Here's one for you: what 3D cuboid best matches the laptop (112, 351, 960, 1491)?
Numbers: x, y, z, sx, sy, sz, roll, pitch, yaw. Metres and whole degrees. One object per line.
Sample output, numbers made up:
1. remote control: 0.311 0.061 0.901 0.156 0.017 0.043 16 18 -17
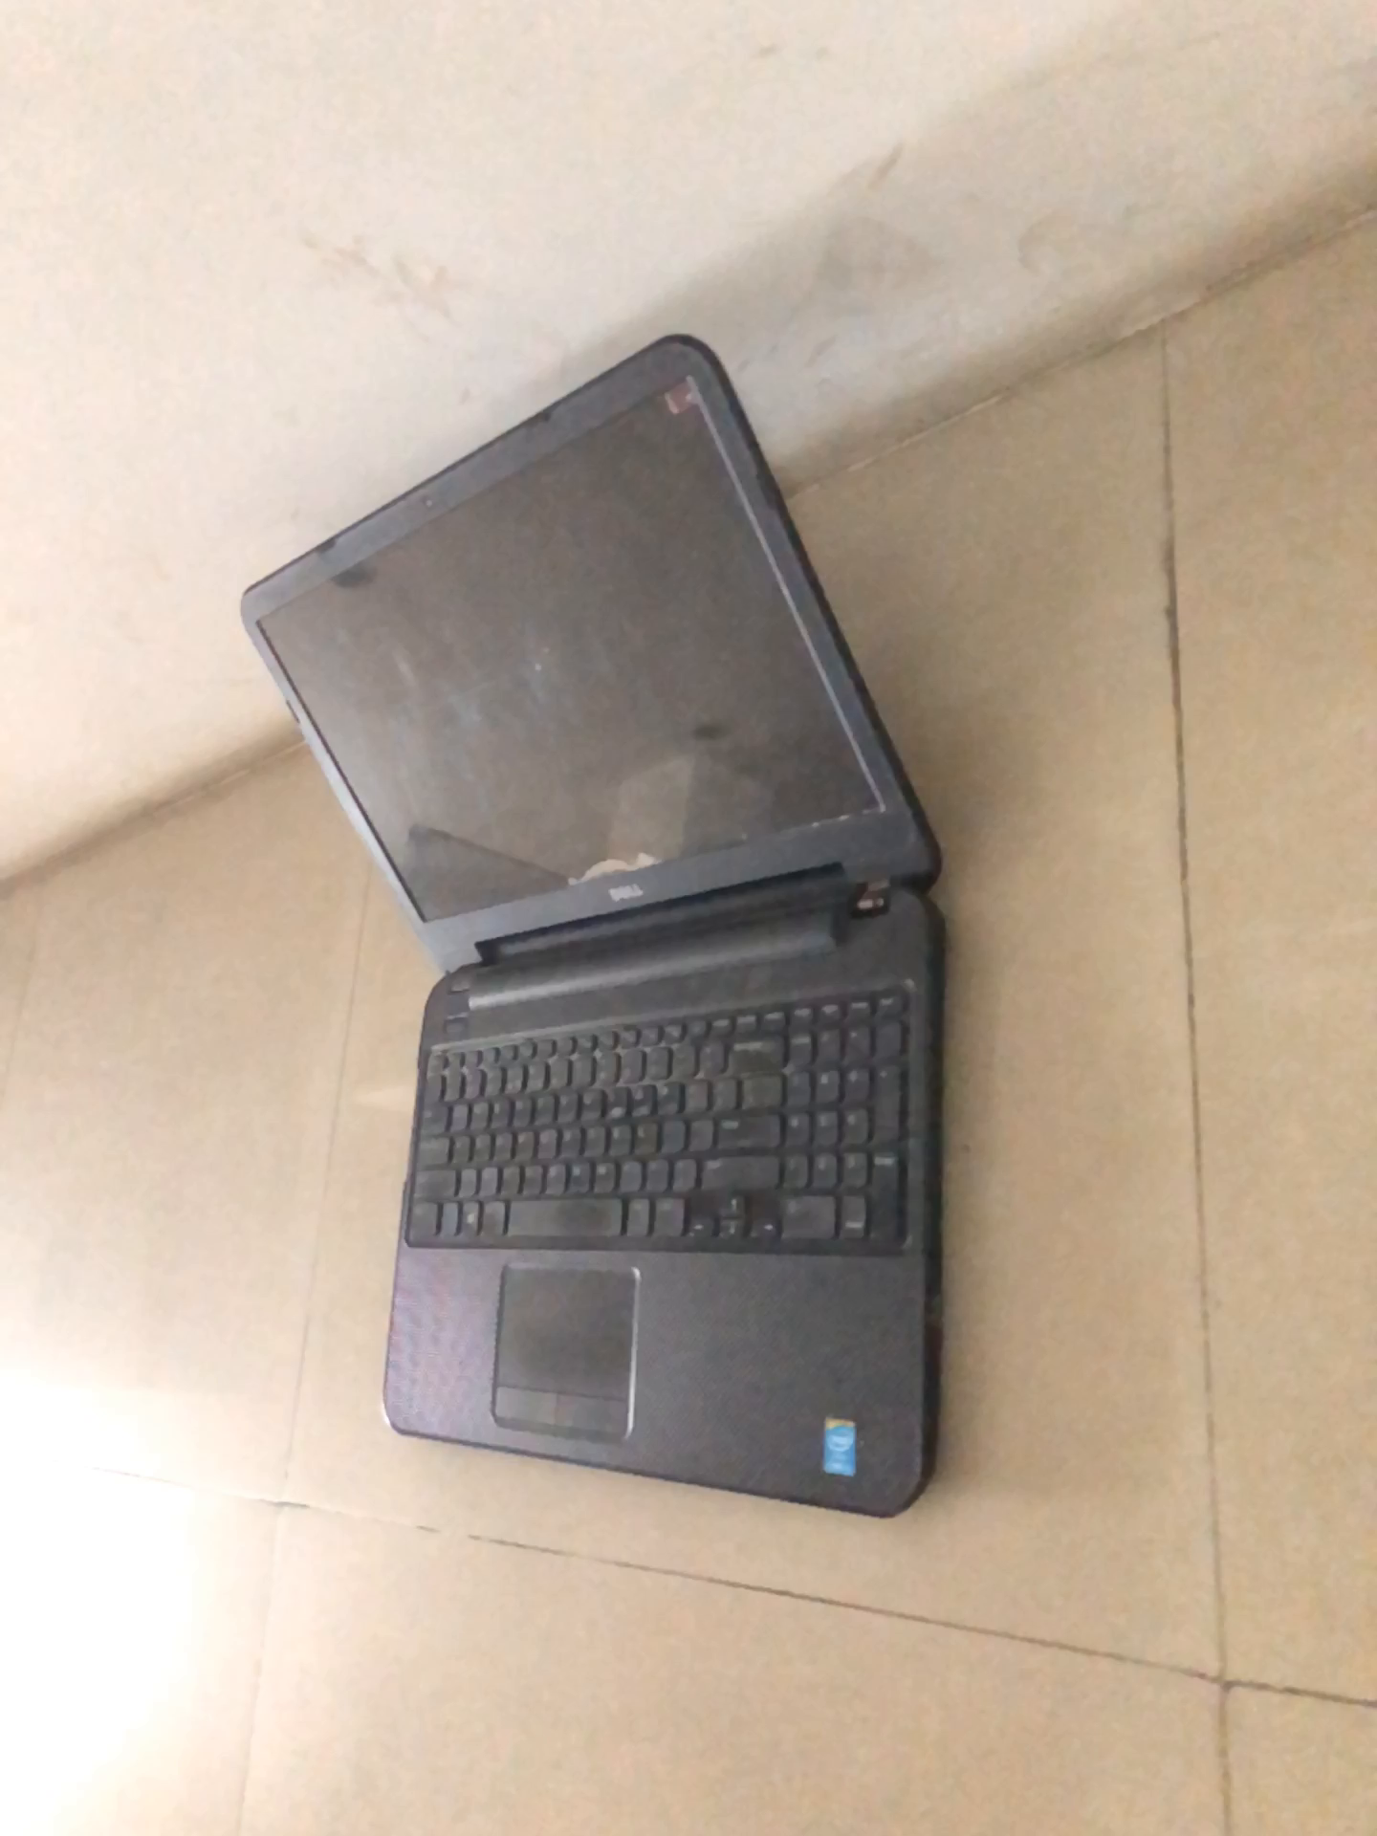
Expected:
1. laptop: -0.068 0.021 0.681 0.323 0.165 0.409 -12 66 44
